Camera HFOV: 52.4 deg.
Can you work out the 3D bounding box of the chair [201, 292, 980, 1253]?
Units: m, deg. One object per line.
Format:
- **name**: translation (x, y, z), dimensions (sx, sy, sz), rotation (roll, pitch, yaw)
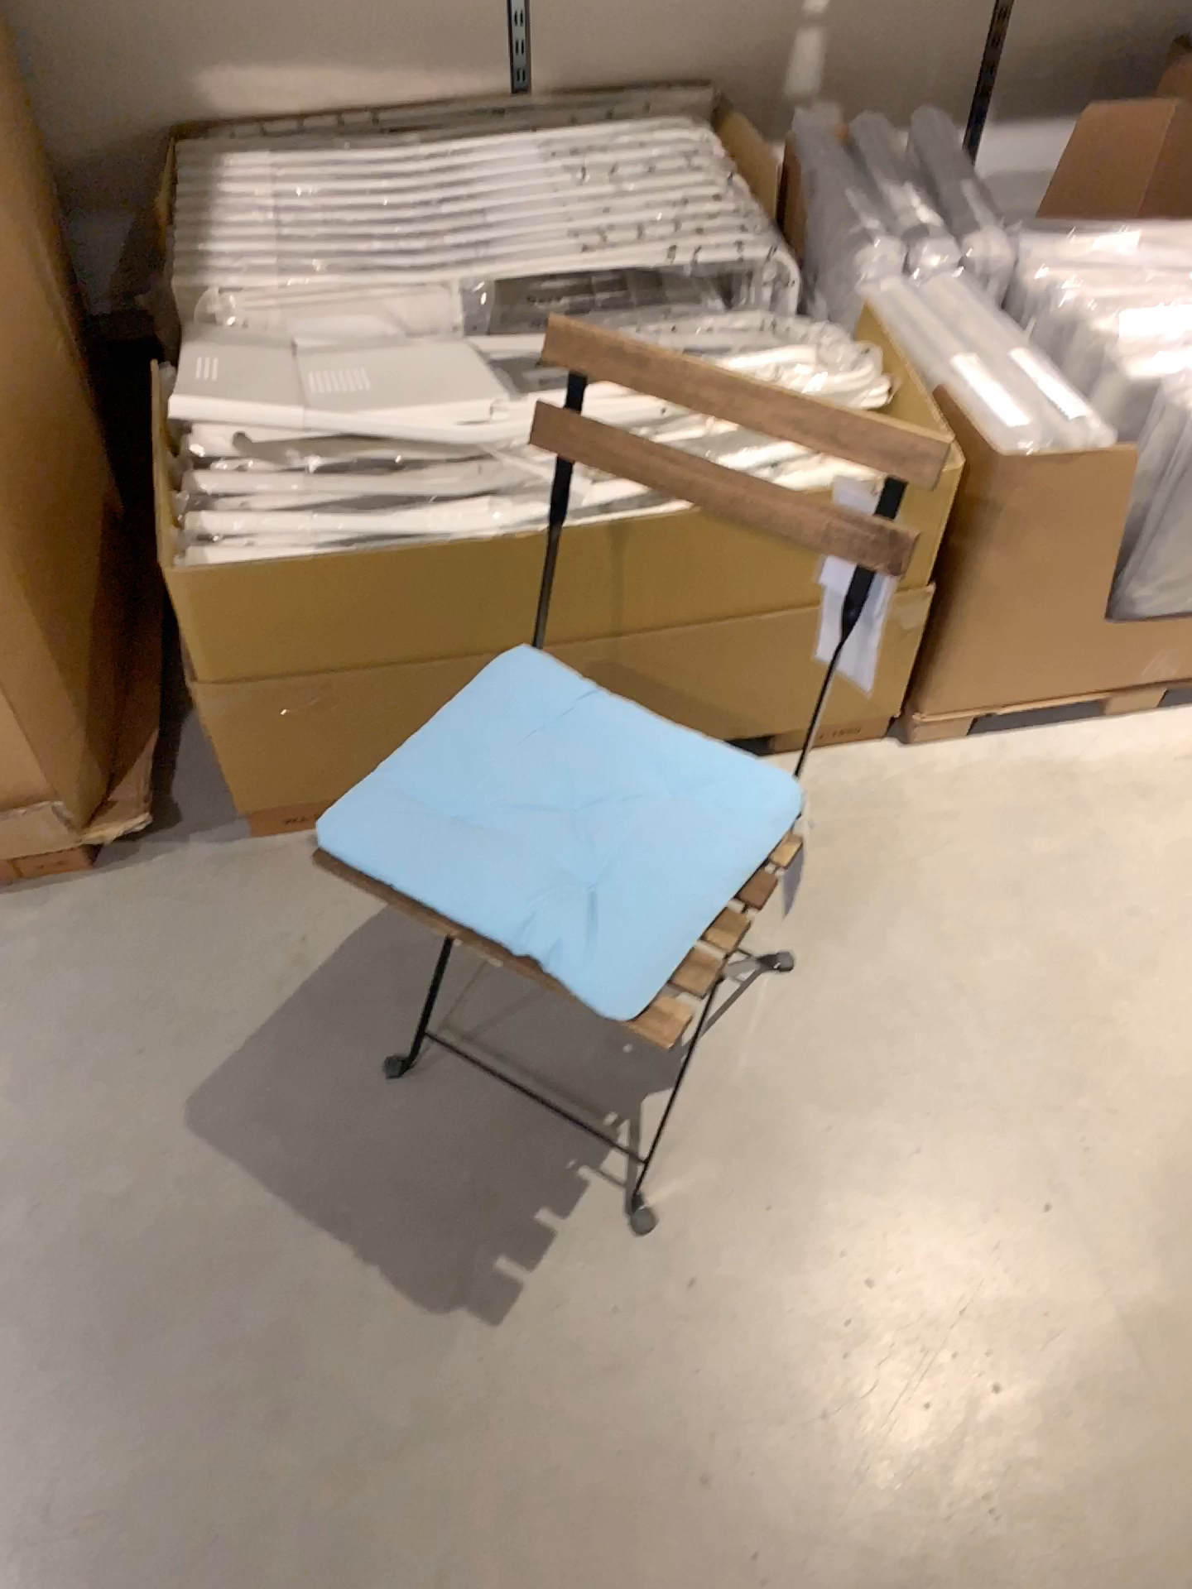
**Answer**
- **chair**: translation (0.015, 0.013, 1.184), dimensions (0.400, 0.738, 0.461), rotation (25, 54, 19)
